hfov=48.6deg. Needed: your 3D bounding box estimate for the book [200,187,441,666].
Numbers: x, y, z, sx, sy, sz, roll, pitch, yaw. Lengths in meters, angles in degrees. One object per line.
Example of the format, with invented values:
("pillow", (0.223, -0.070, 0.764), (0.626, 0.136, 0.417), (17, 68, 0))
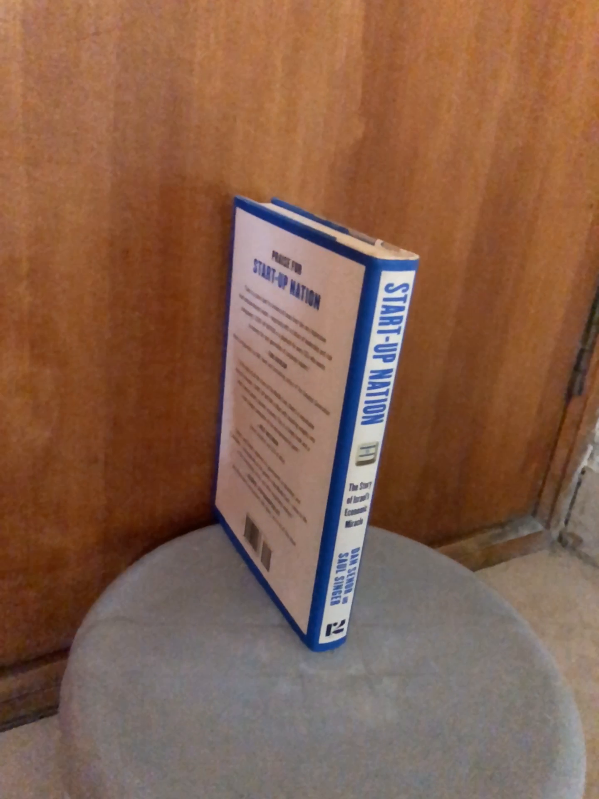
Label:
("book", (-0.008, 0.001, 0.412), (0.040, 0.229, 0.201), (-7, 25, -26))
